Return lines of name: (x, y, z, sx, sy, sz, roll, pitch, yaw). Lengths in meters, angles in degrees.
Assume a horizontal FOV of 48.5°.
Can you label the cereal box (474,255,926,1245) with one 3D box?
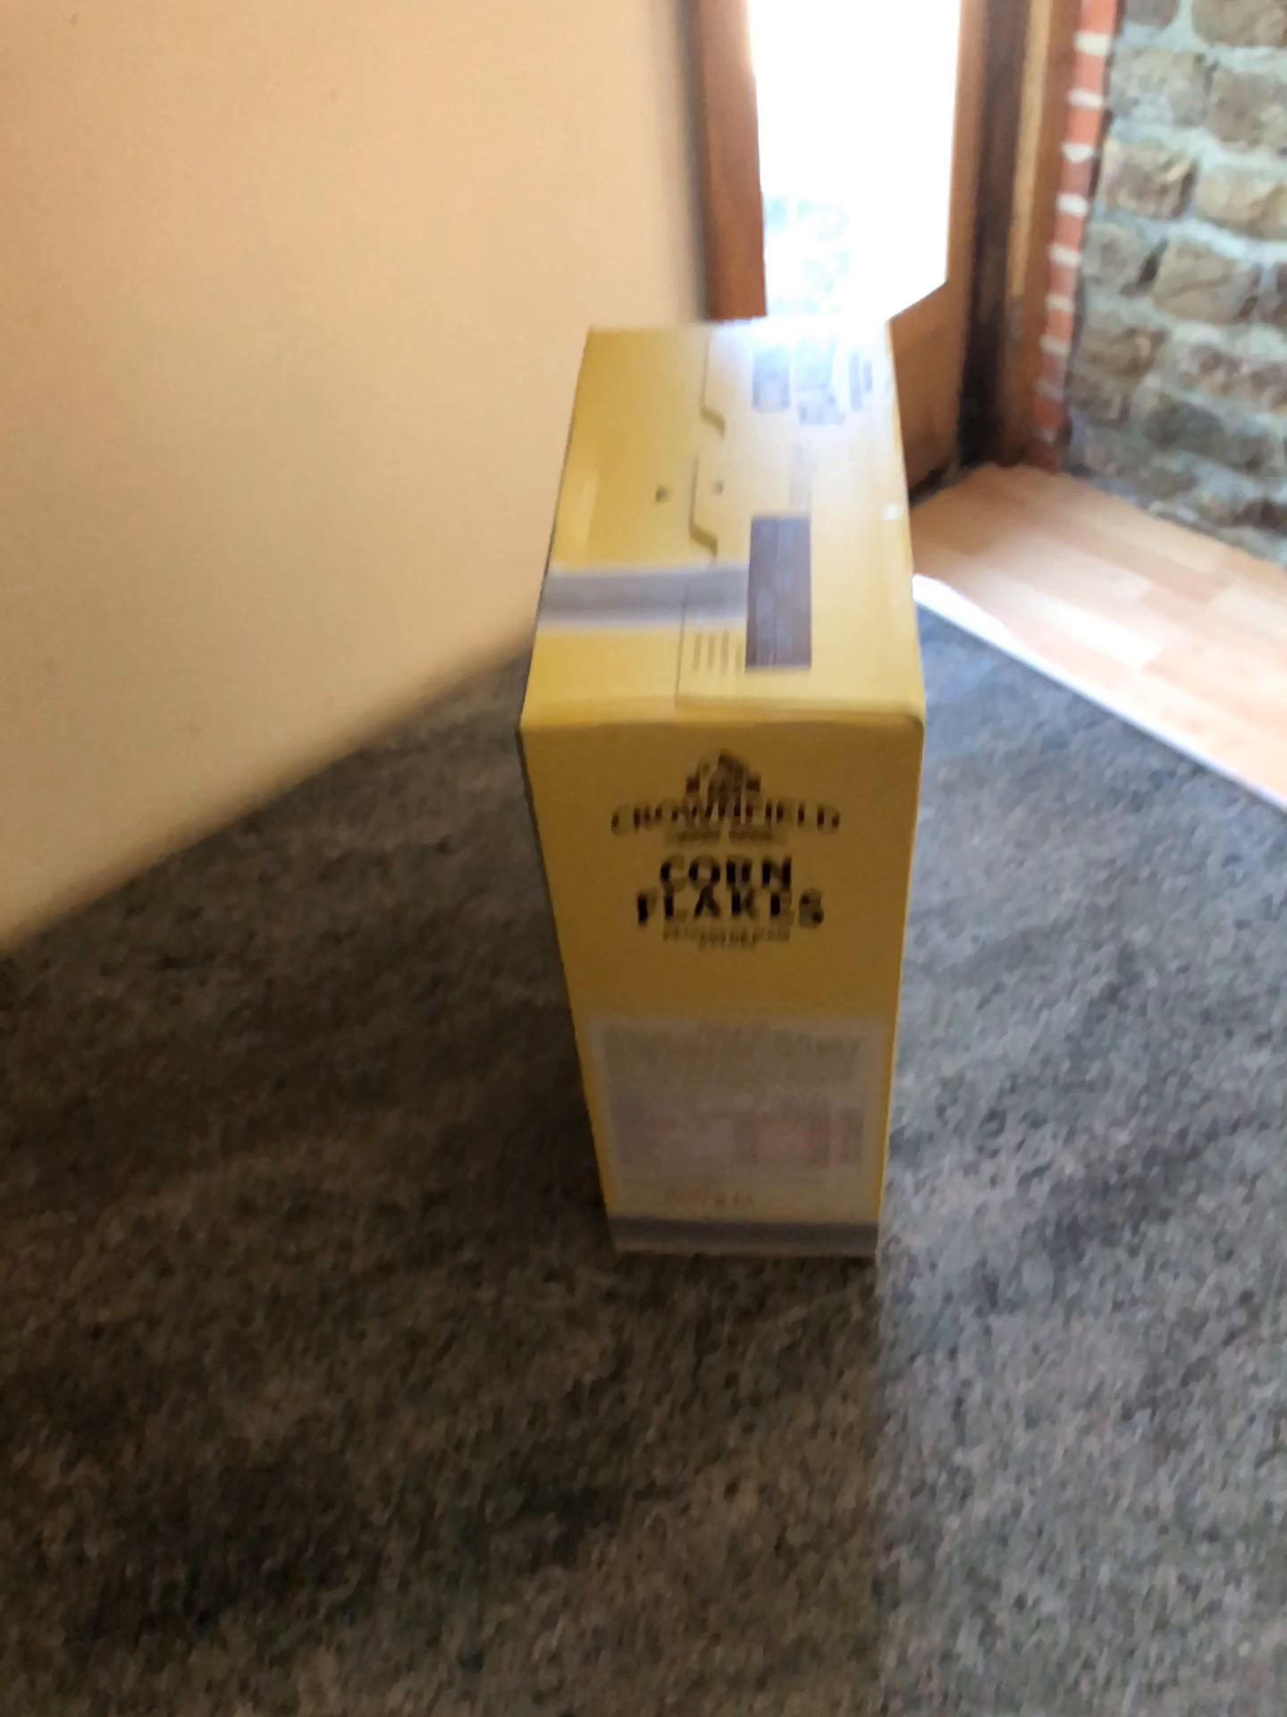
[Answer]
cereal box: (0.028, -0.029, 0.478, 0.100, 0.258, 0.201, 0, 46, 6)
